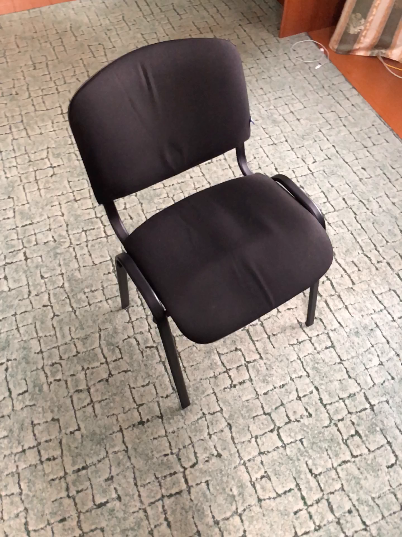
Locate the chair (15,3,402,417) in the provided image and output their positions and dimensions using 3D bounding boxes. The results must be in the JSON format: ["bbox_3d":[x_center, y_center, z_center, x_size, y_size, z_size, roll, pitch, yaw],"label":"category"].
[{"bbox_3d":[0.011,-0.107,1.212,0.581,0.785,0.602,-28,62,-17],"label":"chair"}]
